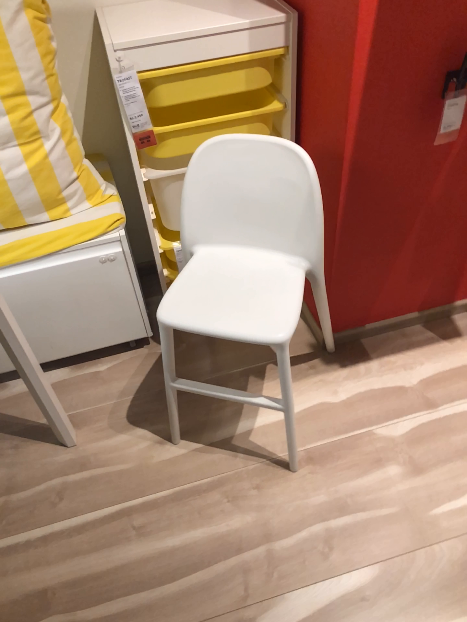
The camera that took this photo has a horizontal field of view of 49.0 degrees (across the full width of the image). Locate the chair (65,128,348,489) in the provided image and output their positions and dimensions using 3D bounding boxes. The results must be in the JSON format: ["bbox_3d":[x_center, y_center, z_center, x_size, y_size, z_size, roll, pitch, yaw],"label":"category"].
[{"bbox_3d":[0.002,0.018,1.233,0.420,0.706,0.463,9,50,13],"label":"chair"}]
